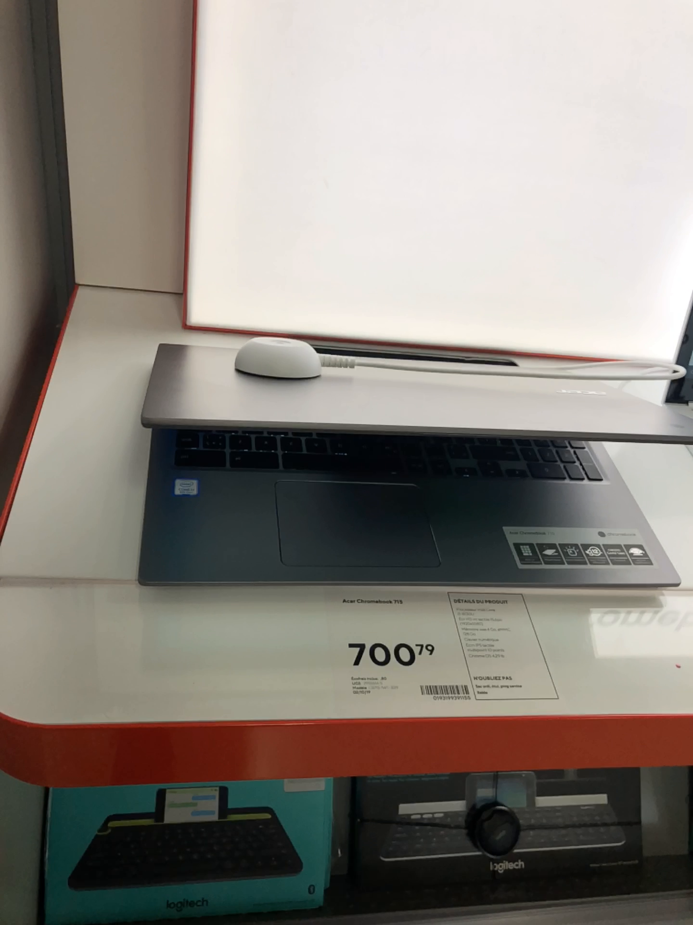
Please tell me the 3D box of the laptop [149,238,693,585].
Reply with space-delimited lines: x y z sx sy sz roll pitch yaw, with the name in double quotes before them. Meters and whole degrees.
"laptop" 0.050 -0.040 0.541 0.356 0.105 0.237 3 40 -12
